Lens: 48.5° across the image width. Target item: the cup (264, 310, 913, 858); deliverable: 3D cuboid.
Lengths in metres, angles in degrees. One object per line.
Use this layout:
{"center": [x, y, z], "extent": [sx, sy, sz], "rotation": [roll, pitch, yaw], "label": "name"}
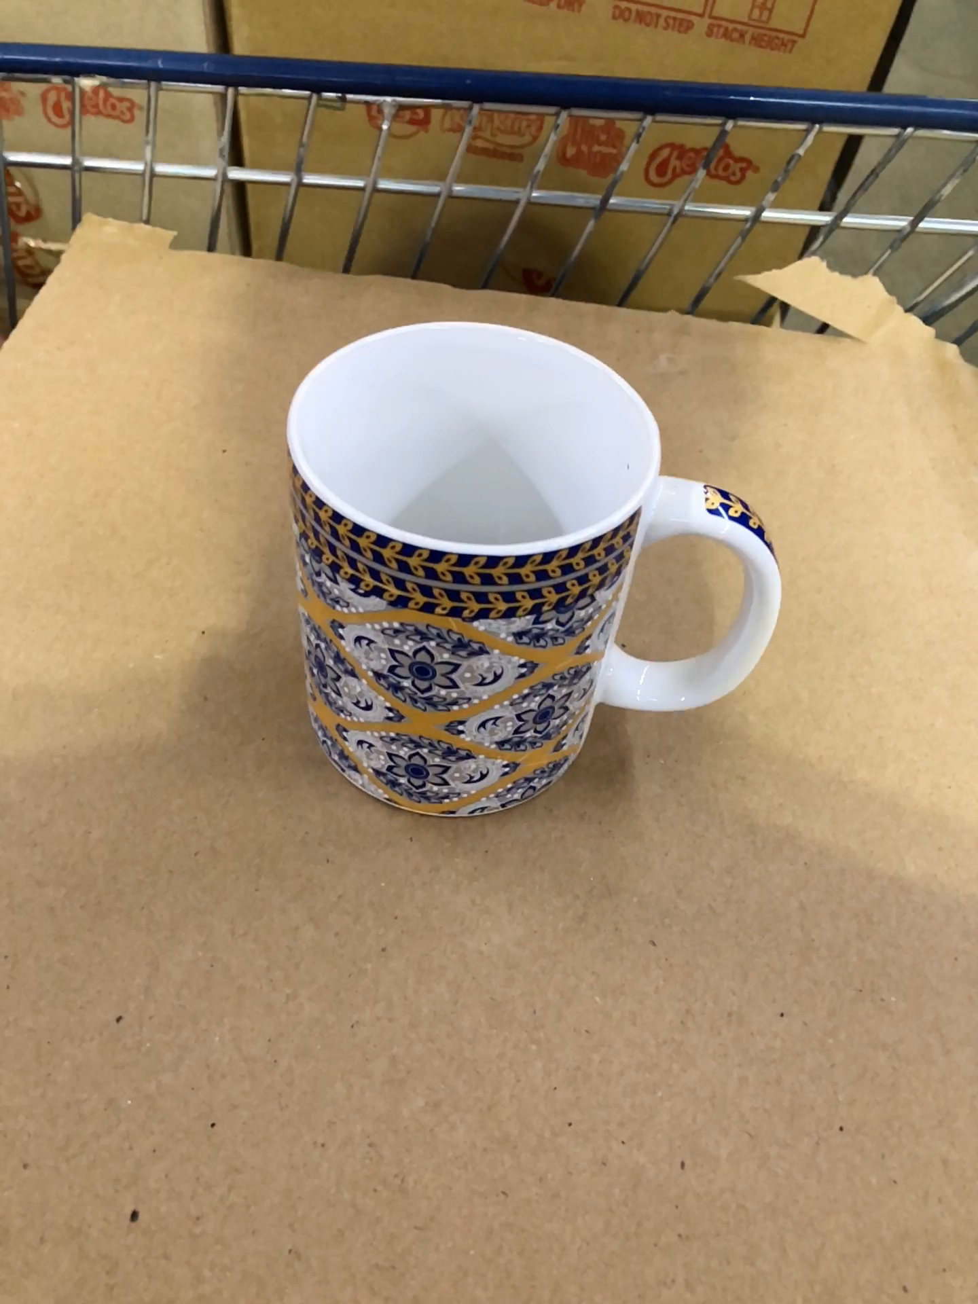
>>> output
{"center": [0.013, -0.015, 0.261], "extent": [0.120, 0.100, 0.080], "rotation": [0, 45, -6], "label": "cup"}
